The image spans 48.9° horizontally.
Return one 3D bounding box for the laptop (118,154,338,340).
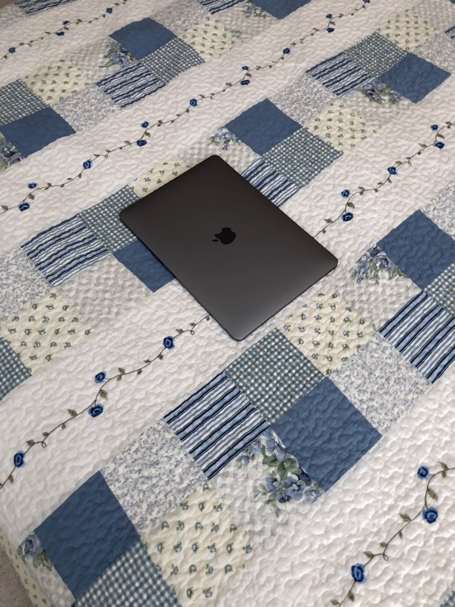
[{"bbox_3d":[-0.003,-0.103,0.779,0.201,0.005,0.290,-36,67,-19],"label":"laptop"}]
